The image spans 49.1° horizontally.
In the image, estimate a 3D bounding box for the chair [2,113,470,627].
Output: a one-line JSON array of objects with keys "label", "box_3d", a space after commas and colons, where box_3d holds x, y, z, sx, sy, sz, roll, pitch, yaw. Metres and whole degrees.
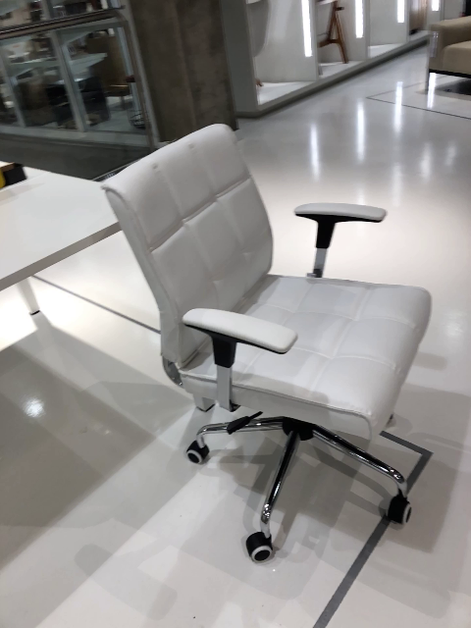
[{"label": "chair", "box_3d": [0.091, 0.074, 1.281, 0.721, 0.923, 0.664, 11, 38, 30]}]
